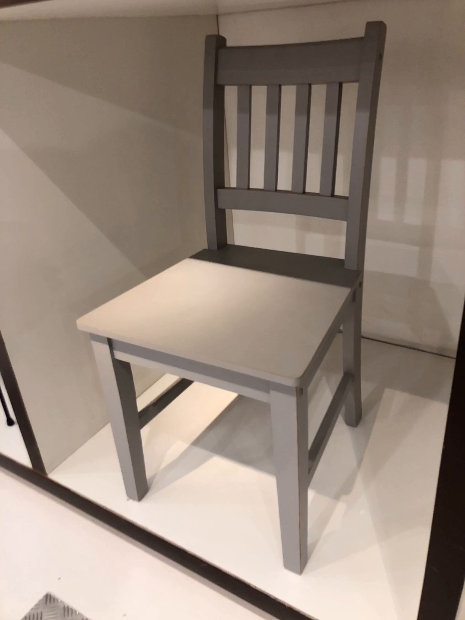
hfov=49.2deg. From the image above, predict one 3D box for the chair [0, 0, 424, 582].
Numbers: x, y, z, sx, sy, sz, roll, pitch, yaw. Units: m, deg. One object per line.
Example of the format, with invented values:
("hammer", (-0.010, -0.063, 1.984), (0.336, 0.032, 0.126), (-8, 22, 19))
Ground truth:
("chair", (0.035, -0.082, 1.003), (0.460, 0.864, 0.584), (11, 32, 28))
